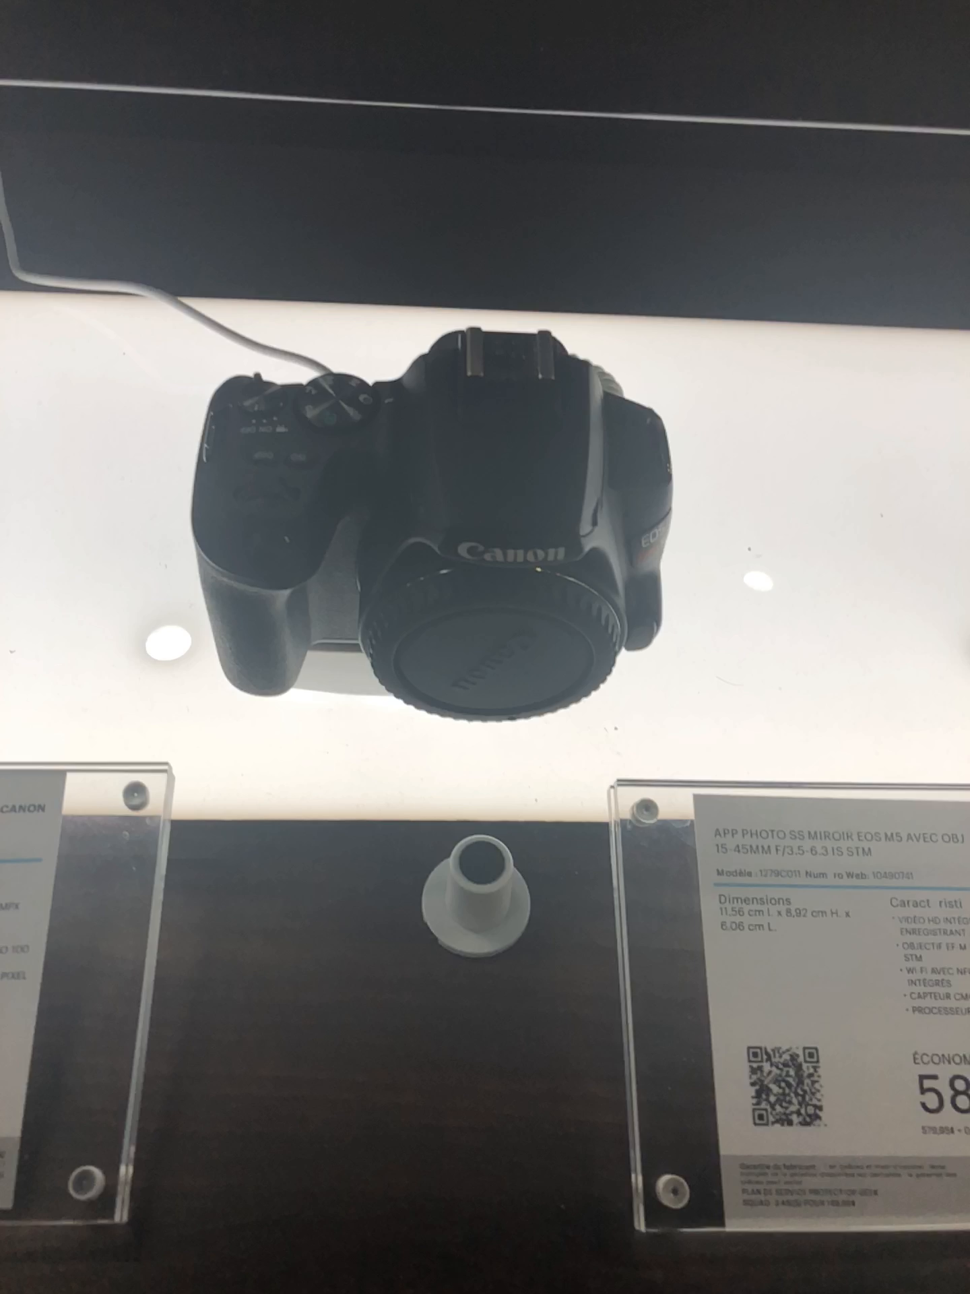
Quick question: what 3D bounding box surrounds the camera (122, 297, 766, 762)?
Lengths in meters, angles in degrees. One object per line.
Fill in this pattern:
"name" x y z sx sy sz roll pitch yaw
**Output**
"camera" -0.010 -0.027 0.258 0.123 0.071 0.081 1 52 -4
